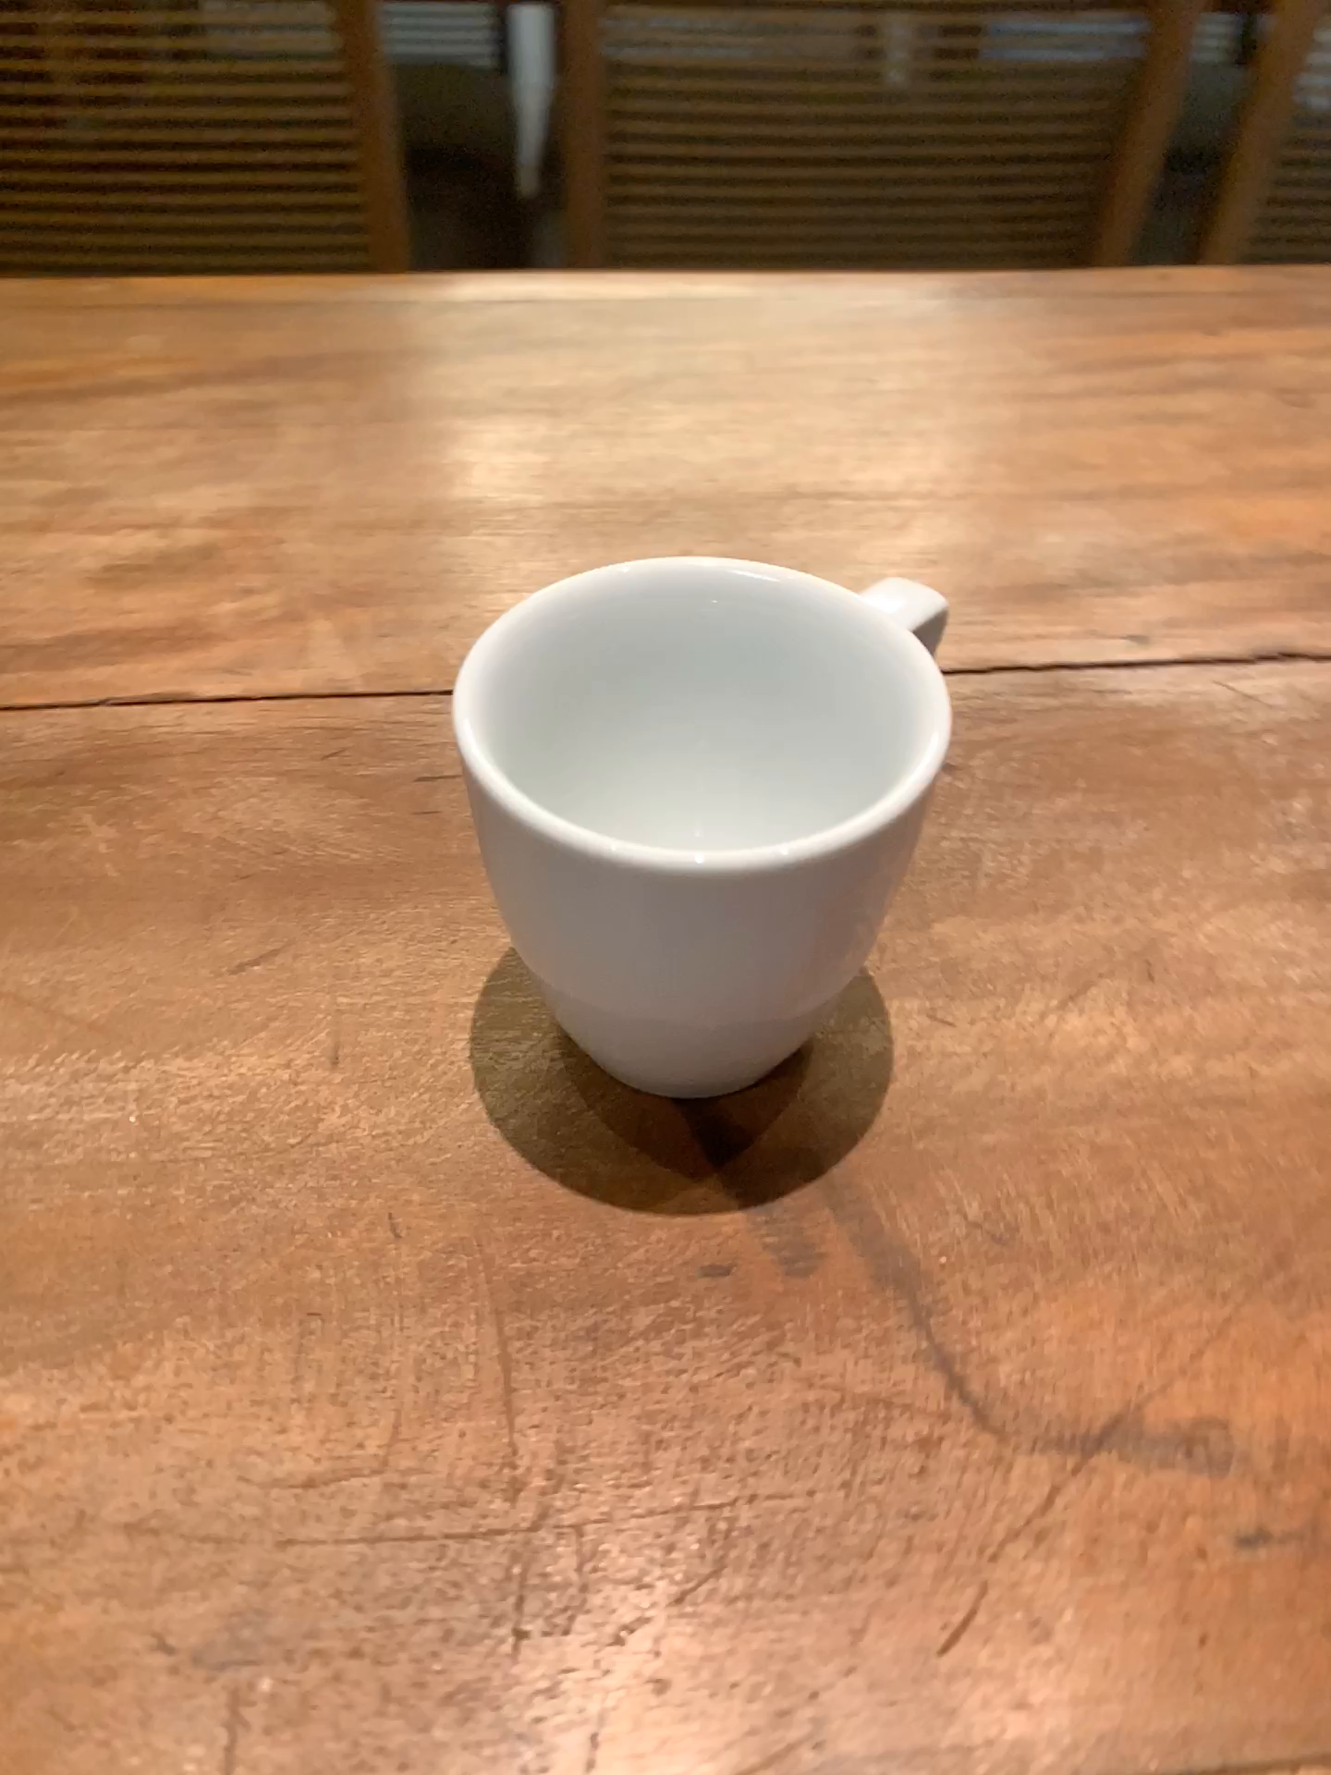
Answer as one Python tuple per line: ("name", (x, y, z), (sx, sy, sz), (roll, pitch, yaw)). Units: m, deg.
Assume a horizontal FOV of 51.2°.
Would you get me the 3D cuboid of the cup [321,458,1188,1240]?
("cup", (0.012, -0.011, 0.189), (0.090, 0.050, 0.060), (-29, 53, -28))
